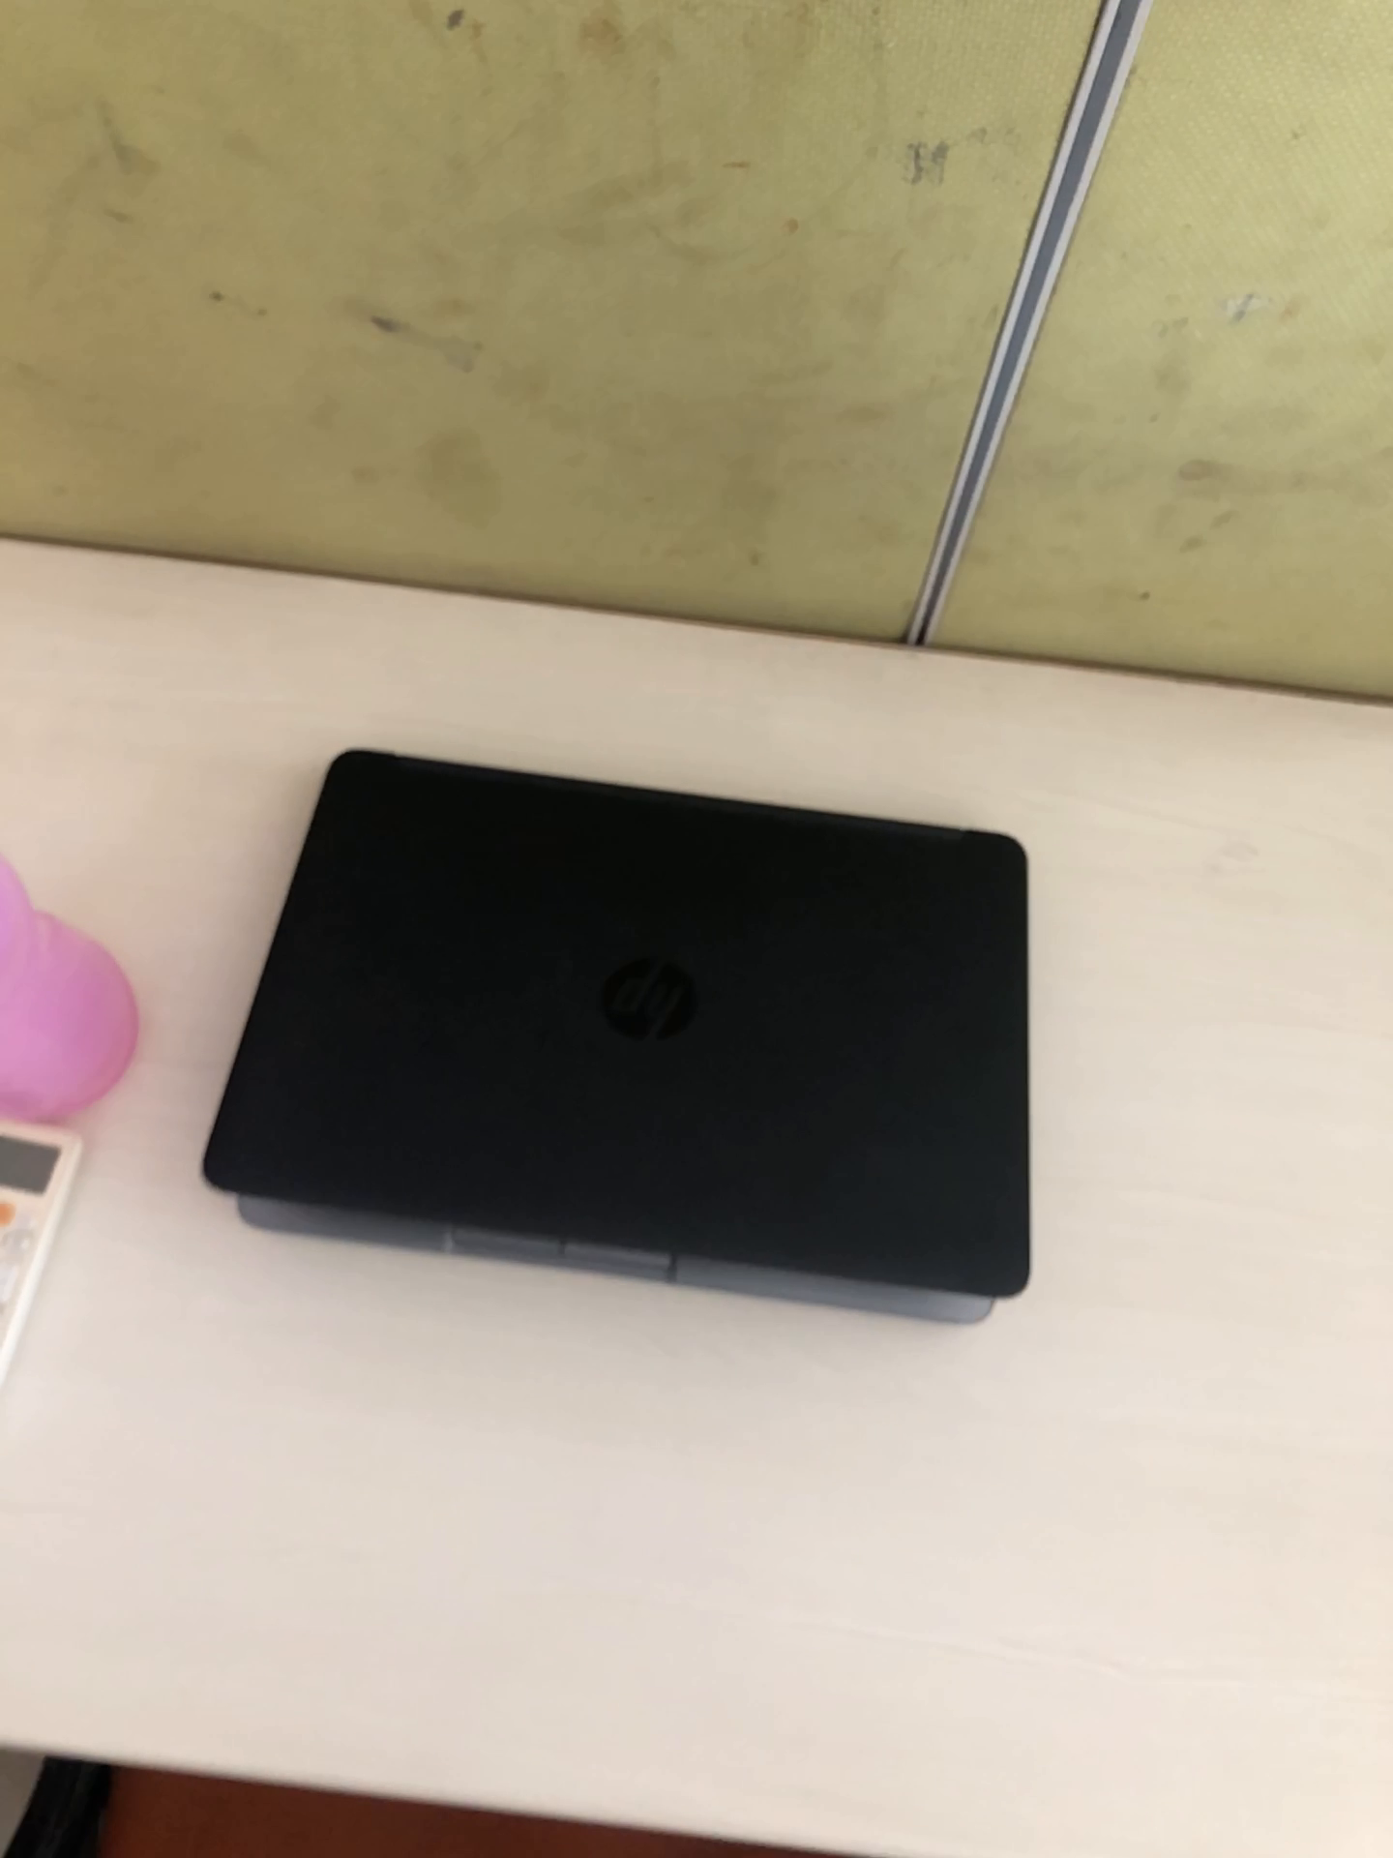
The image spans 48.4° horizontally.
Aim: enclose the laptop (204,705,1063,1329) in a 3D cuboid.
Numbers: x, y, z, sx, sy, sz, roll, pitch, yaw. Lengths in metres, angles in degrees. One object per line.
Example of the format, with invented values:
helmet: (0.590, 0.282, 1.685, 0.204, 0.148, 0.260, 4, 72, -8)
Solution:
laptop: (-0.019, 0.035, 0.682, 0.330, 0.050, 0.226, 8, 71, 1)
